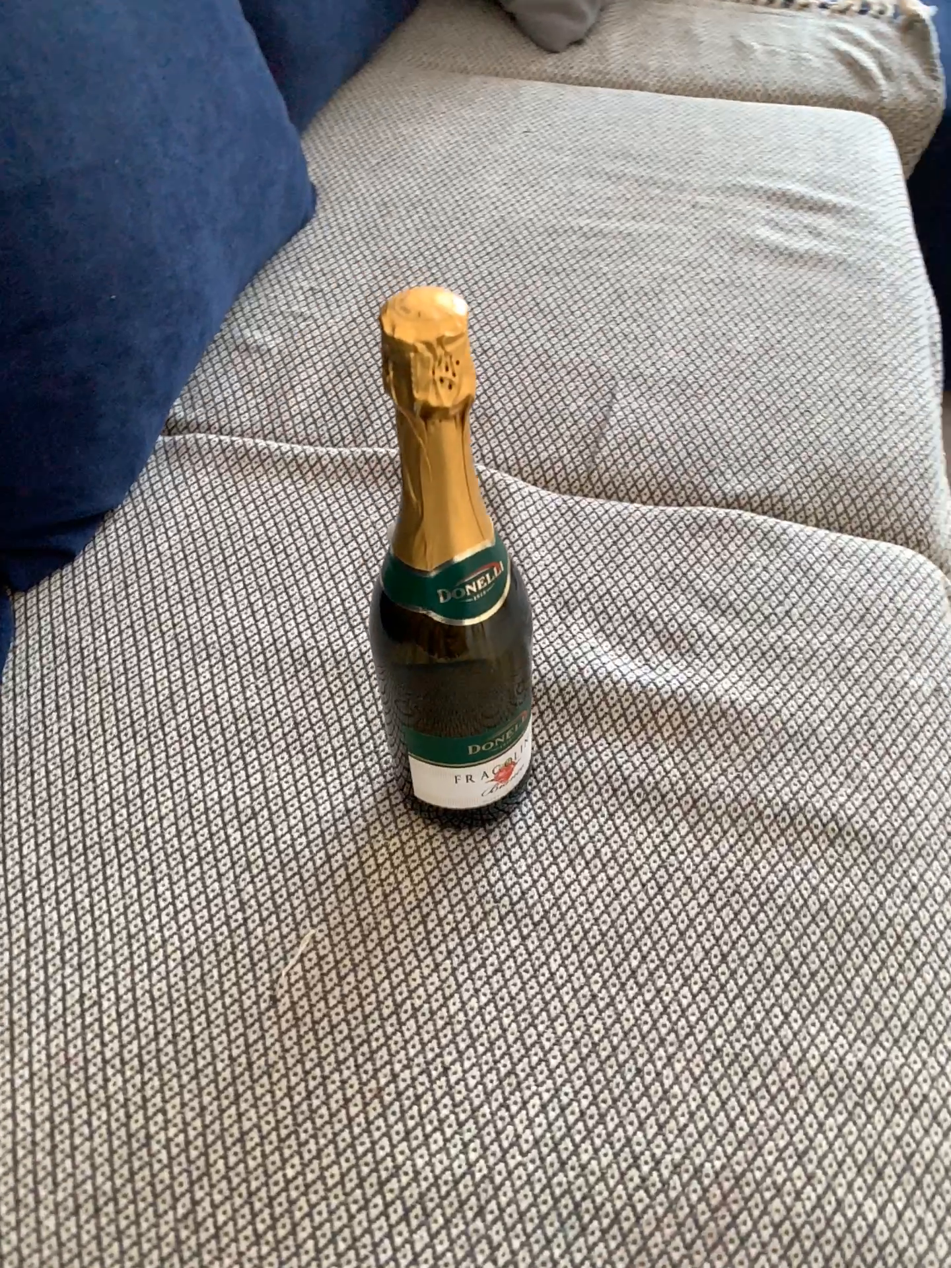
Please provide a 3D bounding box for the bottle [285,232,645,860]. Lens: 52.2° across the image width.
[{"bbox_3d":[-0.004,-0.017,0.452,0.090,0.289,0.090,0,51,0],"label":"bottle"}]
